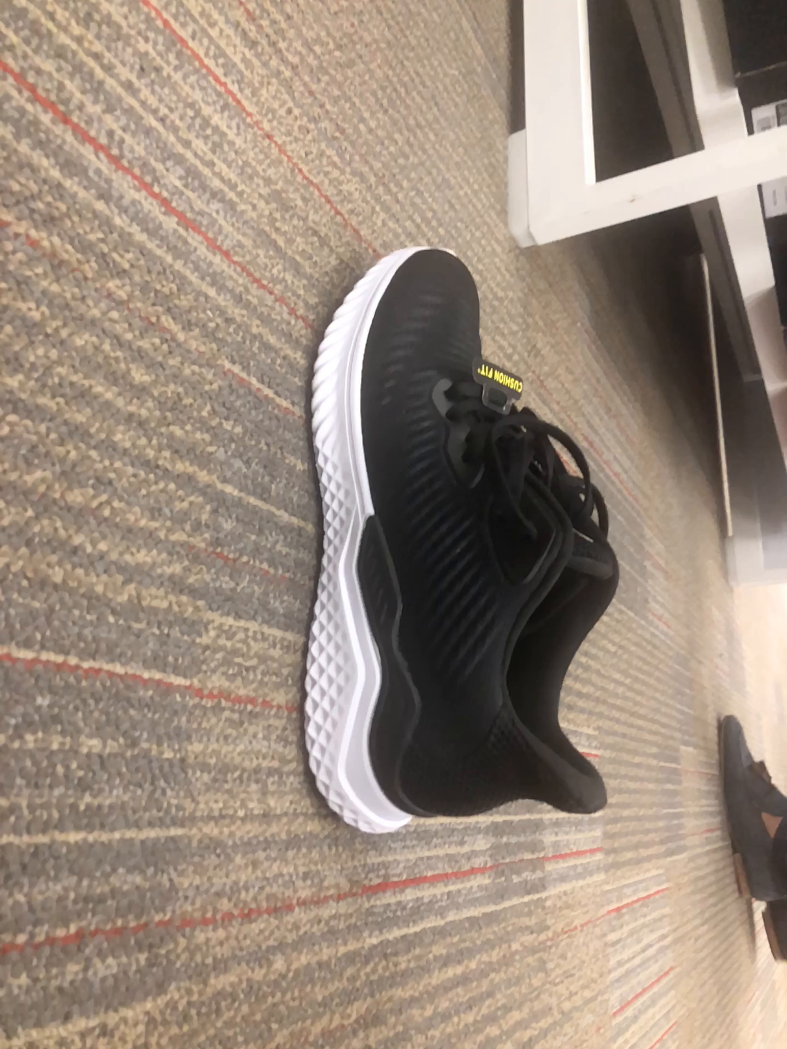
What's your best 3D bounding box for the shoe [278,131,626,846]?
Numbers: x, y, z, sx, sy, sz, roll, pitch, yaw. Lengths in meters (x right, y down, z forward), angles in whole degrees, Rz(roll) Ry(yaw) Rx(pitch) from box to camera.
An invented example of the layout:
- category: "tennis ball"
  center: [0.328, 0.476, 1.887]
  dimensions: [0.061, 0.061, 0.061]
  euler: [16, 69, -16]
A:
- category: "shoe"
  center: [0.035, -0.009, 0.399]
  dimensions: [0.121, 0.099, 0.290]
  euler: [34, 53, -56]
